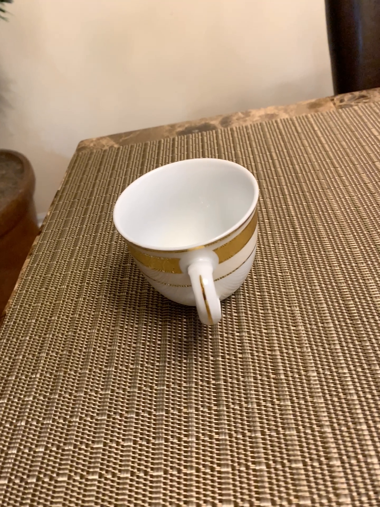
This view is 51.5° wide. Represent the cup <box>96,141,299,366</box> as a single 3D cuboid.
[{"bbox_3d":[0.004,-0.005,0.214,0.082,0.055,0.104,-10,41,4],"label":"cup"}]
